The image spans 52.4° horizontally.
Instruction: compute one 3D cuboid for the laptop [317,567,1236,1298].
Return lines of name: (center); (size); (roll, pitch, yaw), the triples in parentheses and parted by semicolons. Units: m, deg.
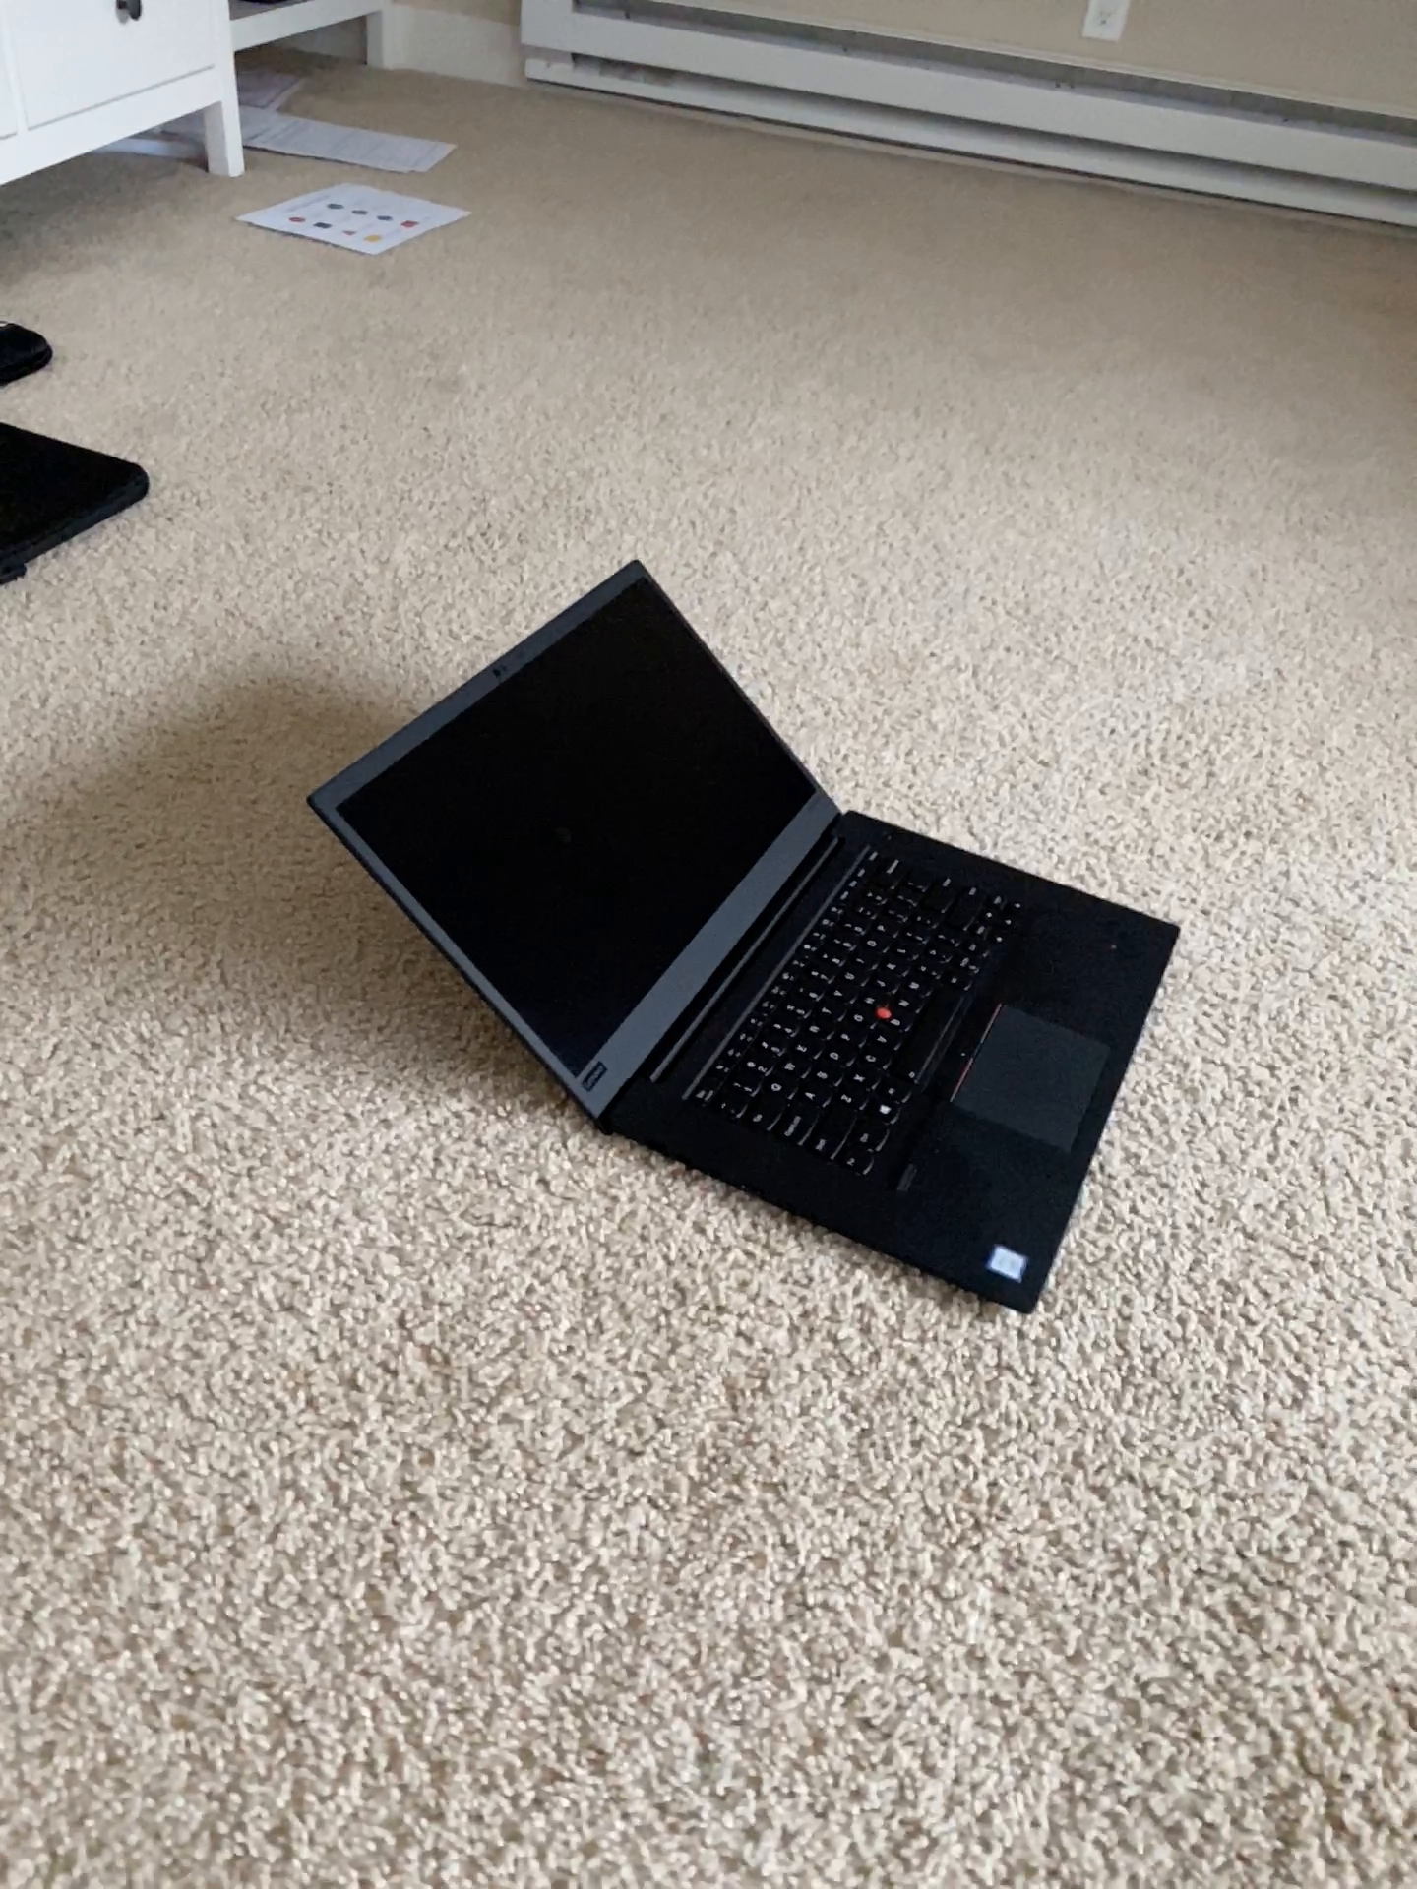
laptop: (0.054, -0.045, 0.888); (0.433, 0.141, 0.361); (21, 42, 17)
